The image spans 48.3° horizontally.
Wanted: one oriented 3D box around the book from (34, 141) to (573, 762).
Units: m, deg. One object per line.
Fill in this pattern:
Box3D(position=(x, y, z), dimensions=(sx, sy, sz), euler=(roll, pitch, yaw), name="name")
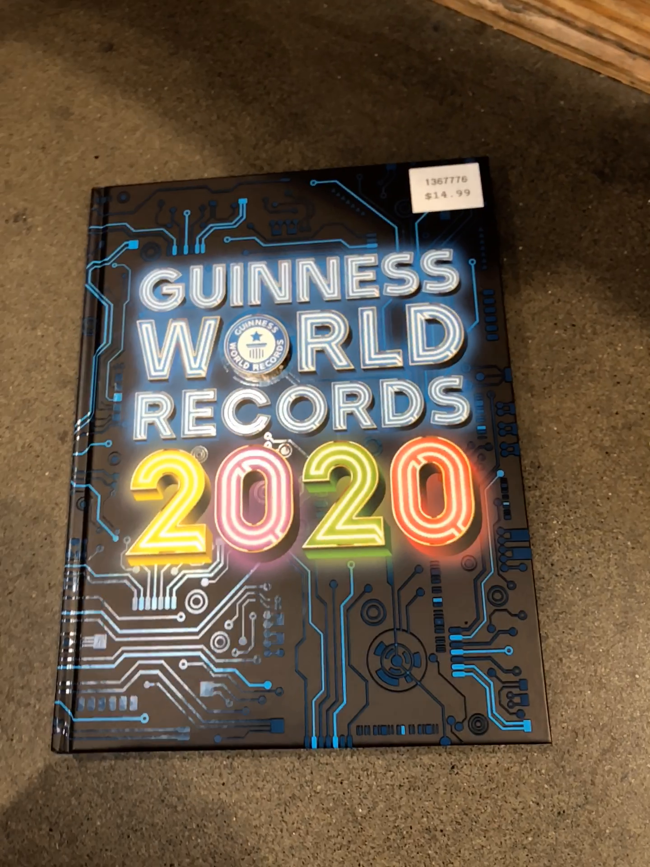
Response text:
Box3D(position=(-0.016, -0.002, 0.380), dimensions=(0.240, 0.030, 0.312), euler=(-3, 73, 4), name="book")
